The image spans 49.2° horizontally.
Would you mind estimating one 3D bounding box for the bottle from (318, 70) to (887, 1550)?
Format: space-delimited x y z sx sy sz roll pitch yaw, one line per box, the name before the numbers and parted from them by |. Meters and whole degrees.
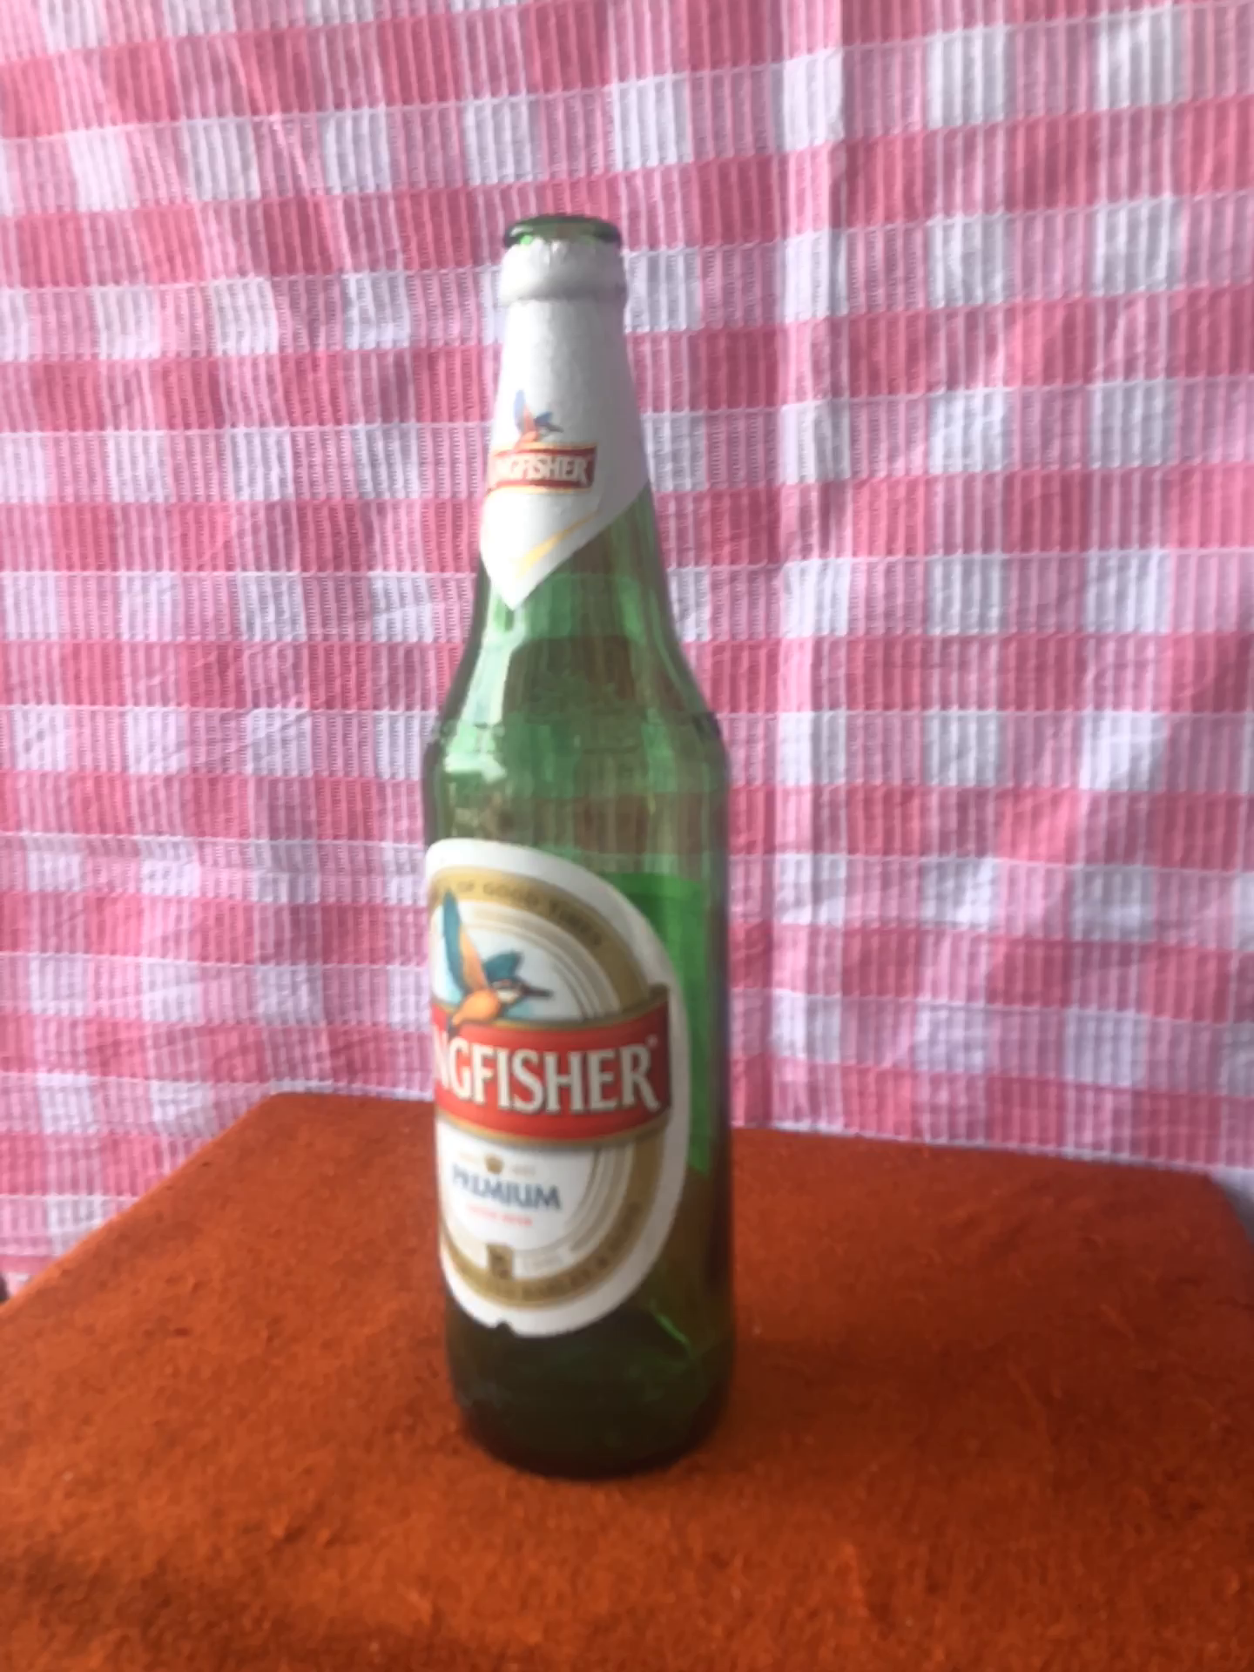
bottle | -0.004 -0.002 0.320 0.090 0.289 0.080 9 15 33
